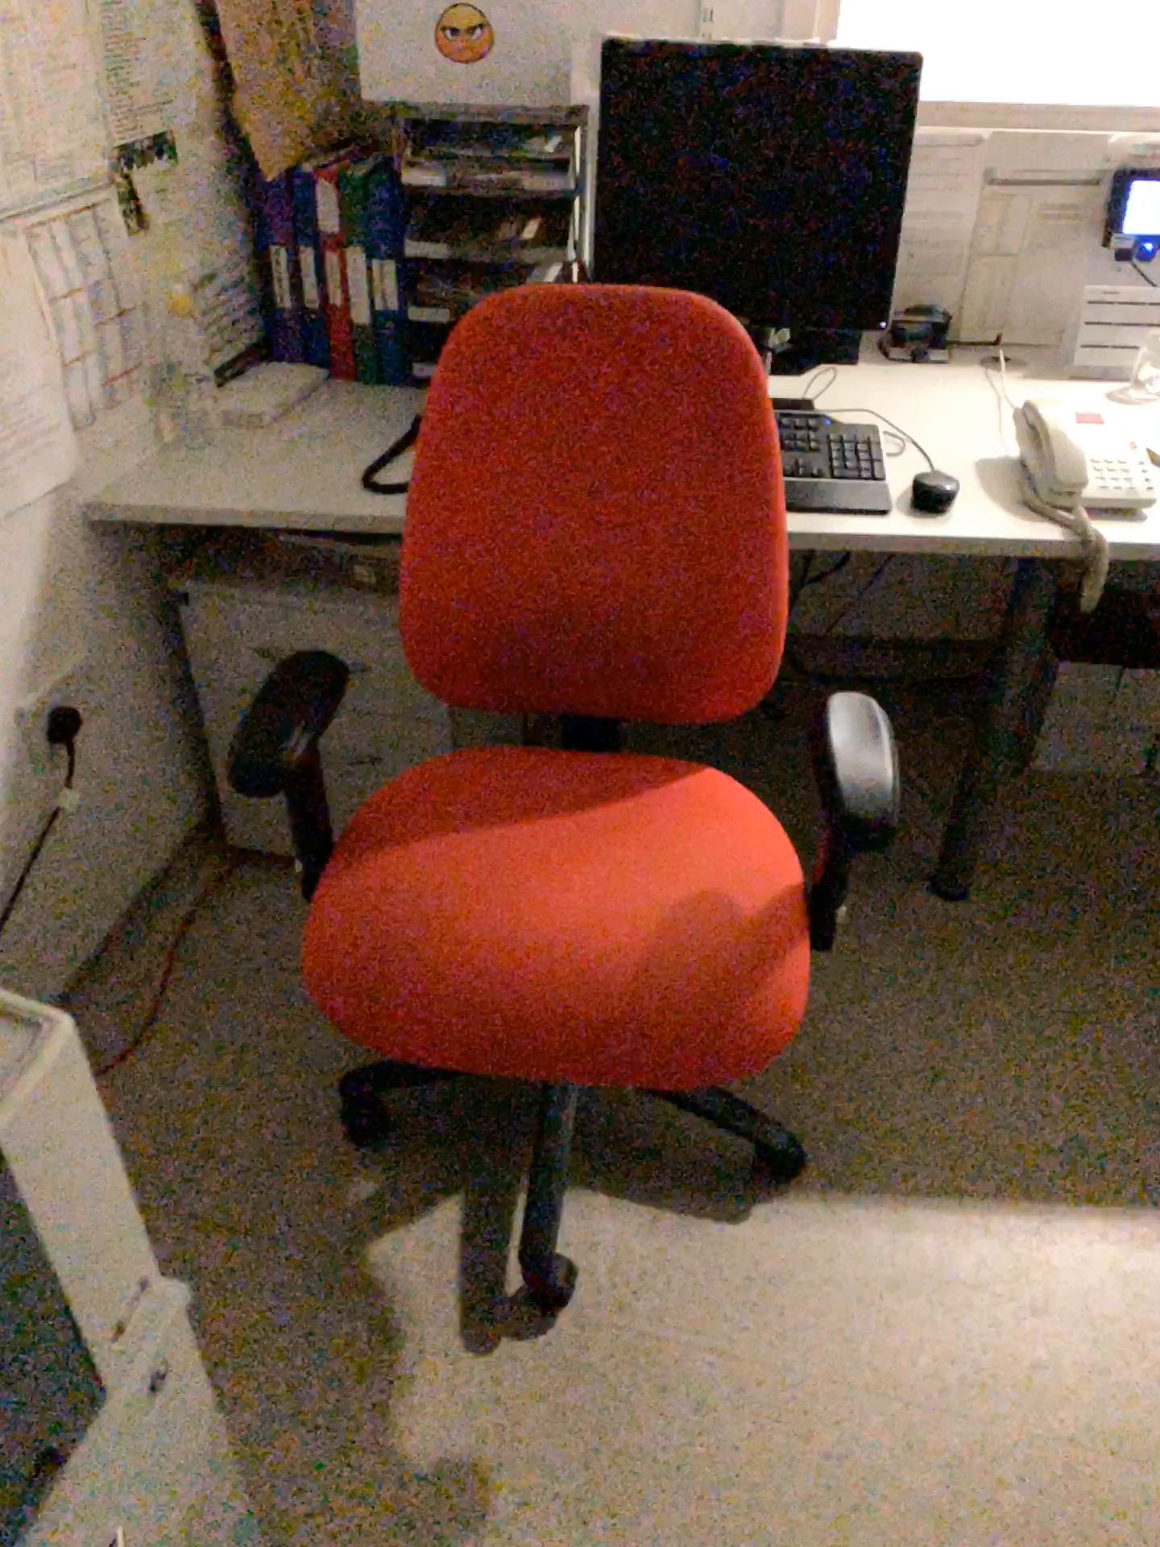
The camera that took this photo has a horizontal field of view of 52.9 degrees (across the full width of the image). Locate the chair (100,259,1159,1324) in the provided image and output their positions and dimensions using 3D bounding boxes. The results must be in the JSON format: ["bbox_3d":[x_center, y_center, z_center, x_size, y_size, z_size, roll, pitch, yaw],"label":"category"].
[{"bbox_3d":[0.032,0.023,1.257,0.670,0.921,0.656,1,36,0],"label":"chair"}]
